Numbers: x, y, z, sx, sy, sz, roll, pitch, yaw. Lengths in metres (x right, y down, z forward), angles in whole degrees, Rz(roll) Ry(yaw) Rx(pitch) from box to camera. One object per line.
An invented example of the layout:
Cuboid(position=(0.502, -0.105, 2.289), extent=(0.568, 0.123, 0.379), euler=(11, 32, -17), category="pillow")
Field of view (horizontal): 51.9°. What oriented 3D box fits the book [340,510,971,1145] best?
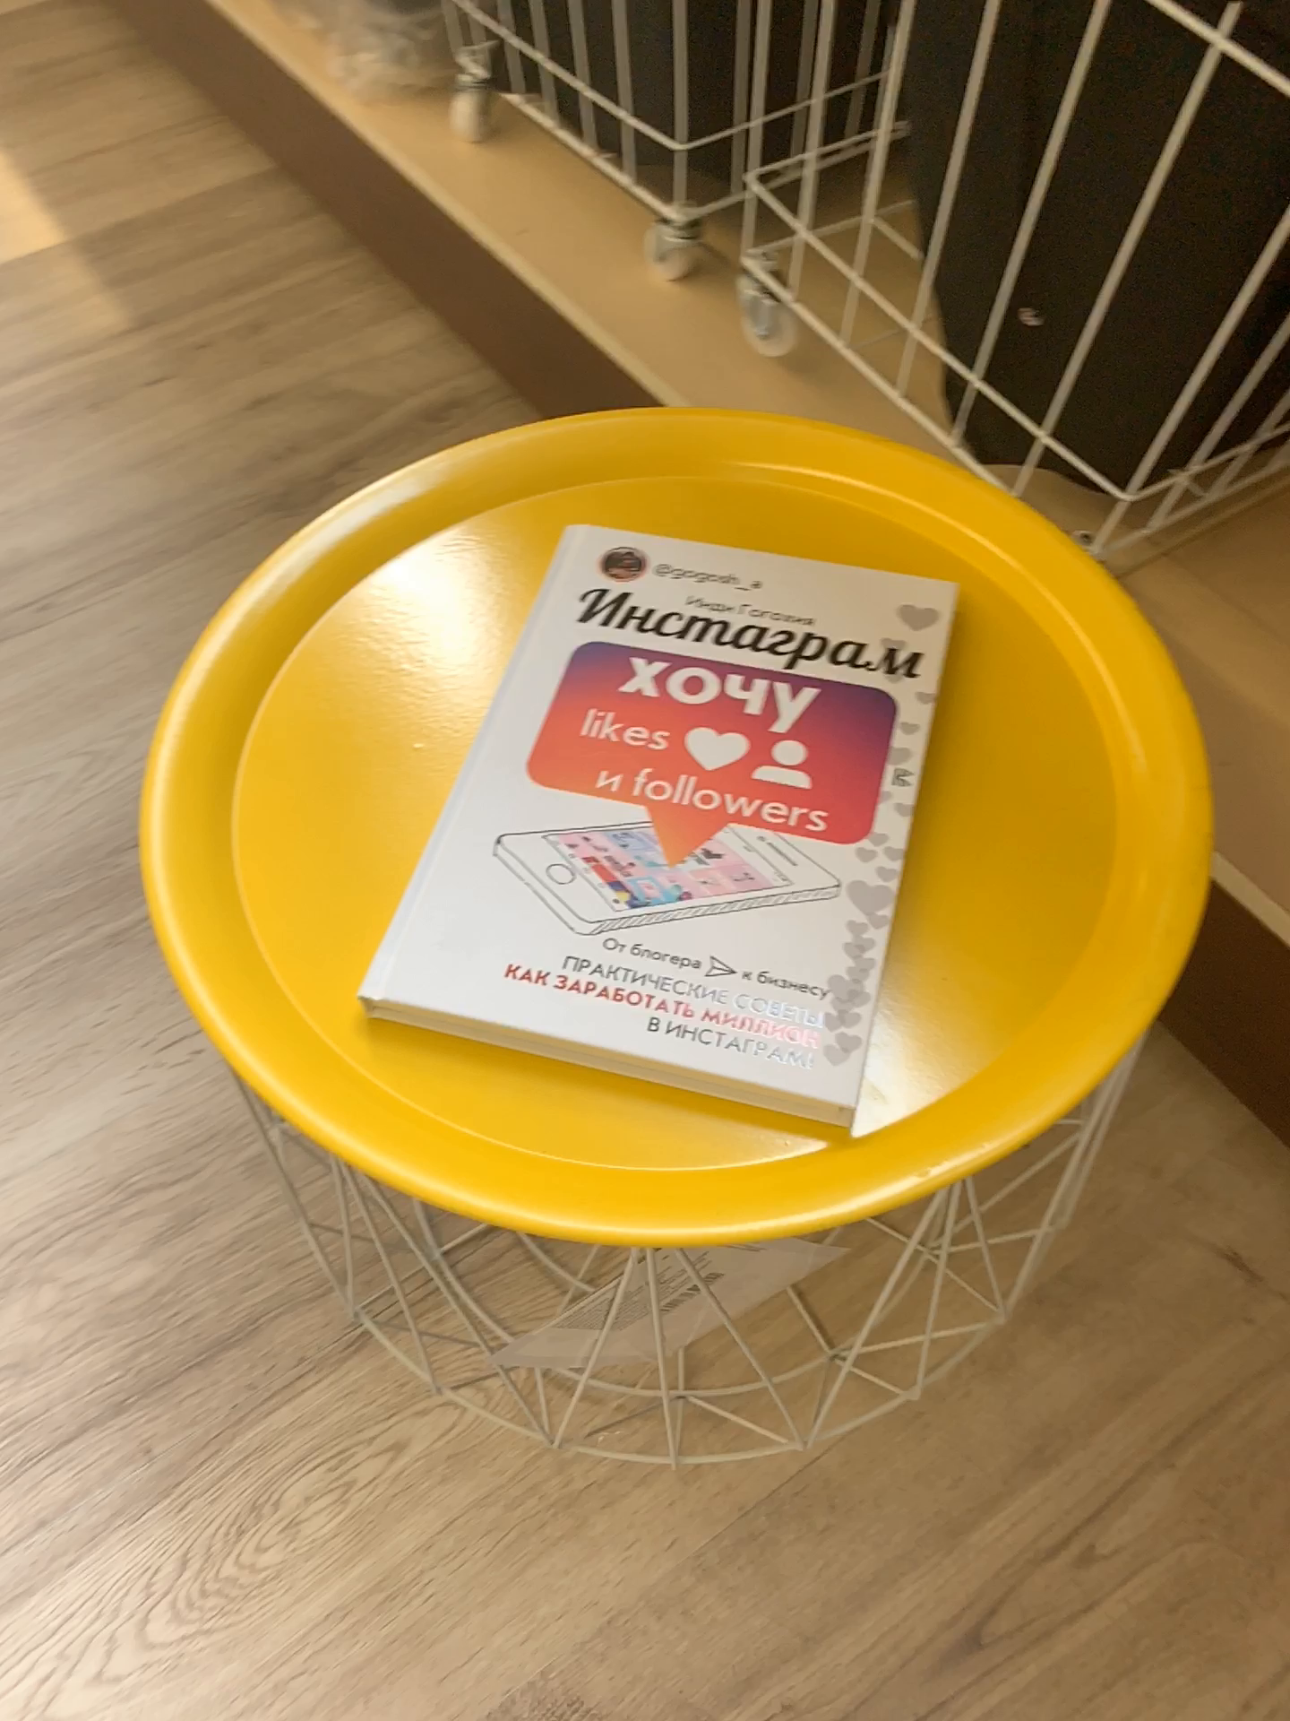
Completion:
Cuboid(position=(0.016, -0.030, 0.481), extent=(0.170, 0.020, 0.241), euler=(11, 56, 10), category="book")
